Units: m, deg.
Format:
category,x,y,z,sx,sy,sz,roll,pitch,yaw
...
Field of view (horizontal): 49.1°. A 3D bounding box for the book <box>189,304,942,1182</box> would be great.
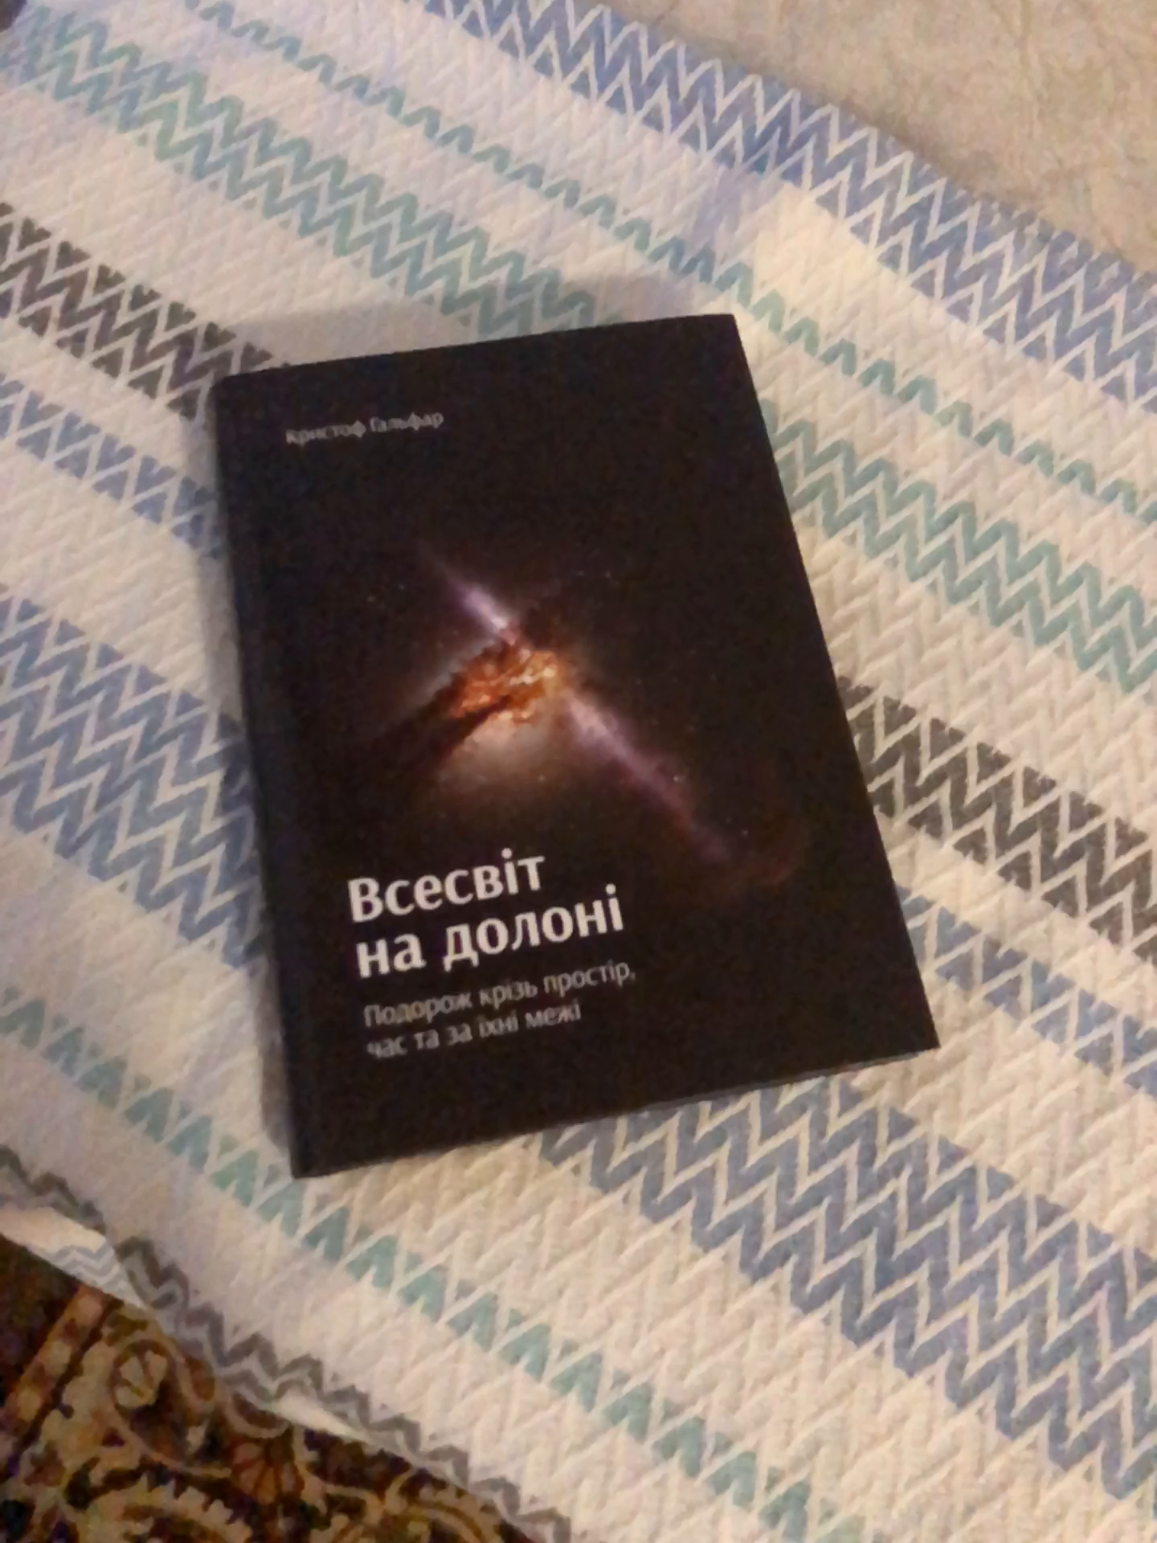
category,x,y,z,sx,sy,sz,roll,pitch,yaw
book,-0.012,-0.019,0.351,0.161,0.030,0.225,-10,71,-7
